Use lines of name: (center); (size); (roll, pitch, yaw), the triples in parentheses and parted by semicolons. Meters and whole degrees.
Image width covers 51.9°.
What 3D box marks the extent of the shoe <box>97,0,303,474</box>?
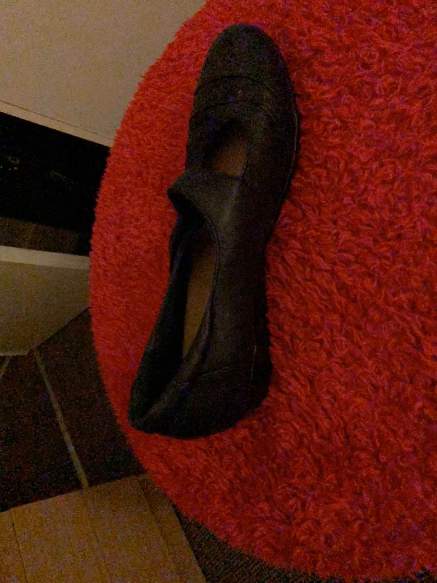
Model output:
shoe: (-0.010, -0.048, 0.278); (0.093, 0.079, 0.275); (-5, 82, 46)
